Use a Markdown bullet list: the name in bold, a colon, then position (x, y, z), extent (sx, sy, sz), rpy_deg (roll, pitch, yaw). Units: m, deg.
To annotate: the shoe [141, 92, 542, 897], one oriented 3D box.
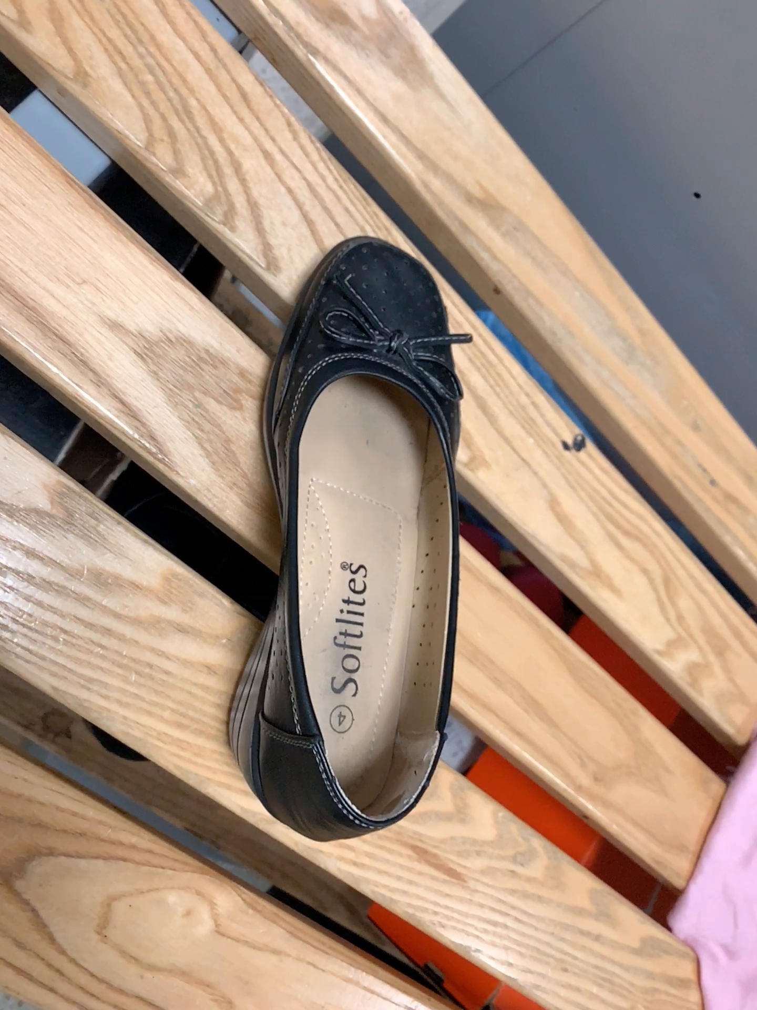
- **shoe**: position (-0.015, -0.003, 0.324), extent (0.087, 0.109, 0.272), rpy_deg (14, 76, -29)
